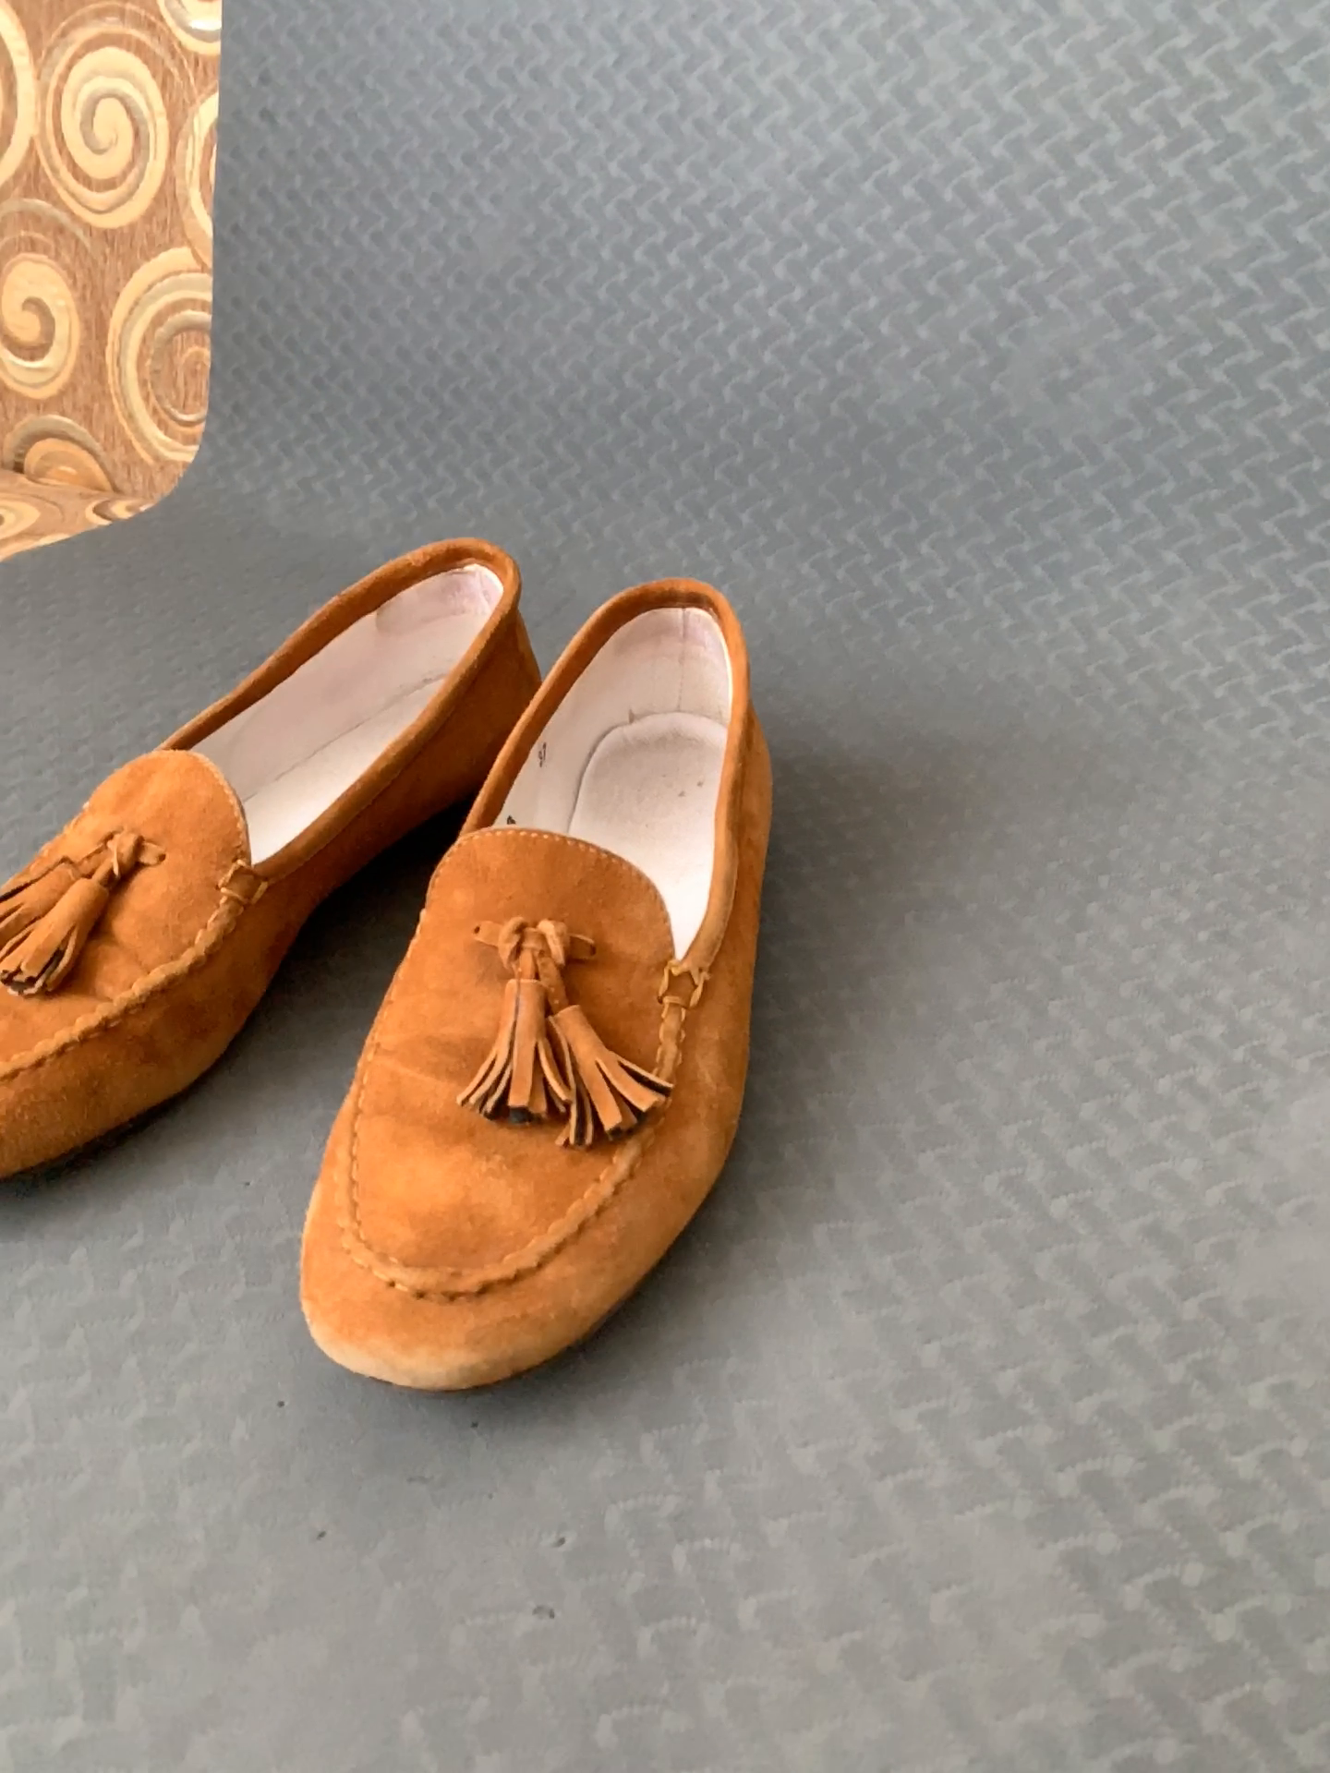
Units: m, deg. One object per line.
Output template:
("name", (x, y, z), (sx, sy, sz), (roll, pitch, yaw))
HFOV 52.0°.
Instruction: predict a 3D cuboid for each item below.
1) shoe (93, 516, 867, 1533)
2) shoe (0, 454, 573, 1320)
("shoe", (-0.018, 0.008, 0.334), (0.090, 0.090, 0.241), (9, 42, 13))
("shoe", (-0.131, -0.020, 0.358), (0.090, 0.090, 0.231), (22, 46, 25))
